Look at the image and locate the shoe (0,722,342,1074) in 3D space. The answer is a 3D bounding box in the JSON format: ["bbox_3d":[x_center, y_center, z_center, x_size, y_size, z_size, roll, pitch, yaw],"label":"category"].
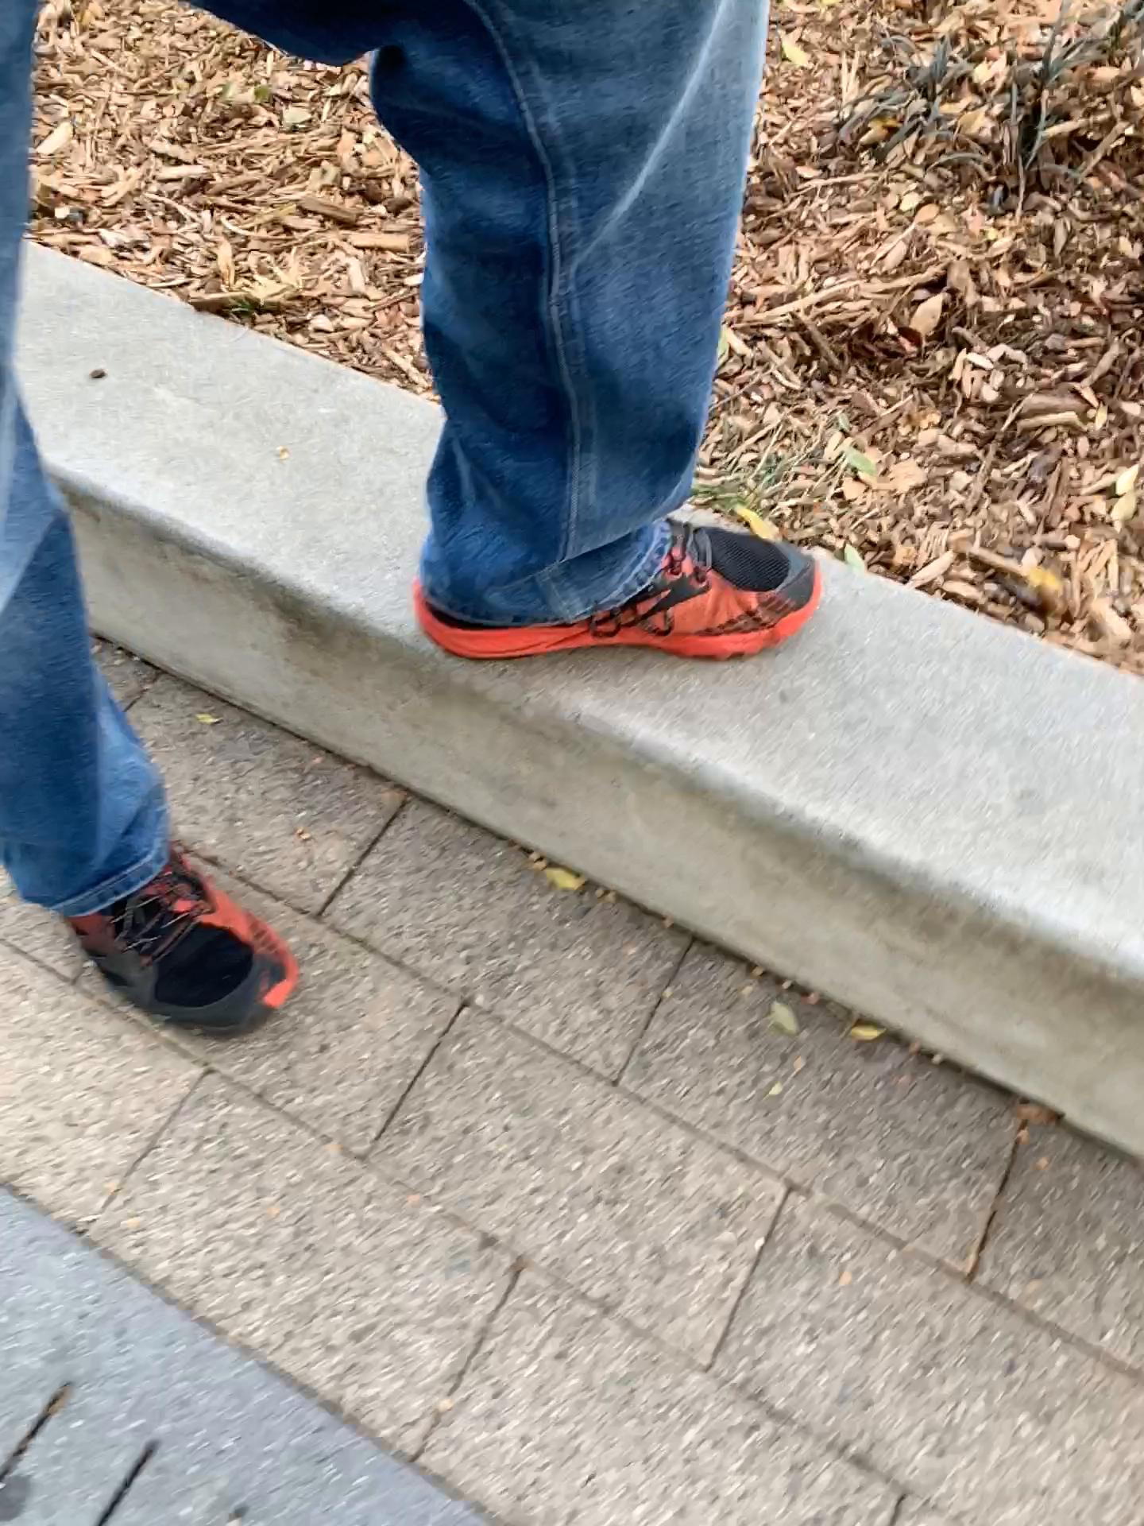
[{"bbox_3d":[-0.360,0.106,0.988,0.306,0.080,0.137,32,60,20],"label":"shoe"}]

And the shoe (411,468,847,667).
[{"bbox_3d":[0.038,-0.150,0.894,0.310,0.080,0.122,-2,55,-2],"label":"shoe"}]
